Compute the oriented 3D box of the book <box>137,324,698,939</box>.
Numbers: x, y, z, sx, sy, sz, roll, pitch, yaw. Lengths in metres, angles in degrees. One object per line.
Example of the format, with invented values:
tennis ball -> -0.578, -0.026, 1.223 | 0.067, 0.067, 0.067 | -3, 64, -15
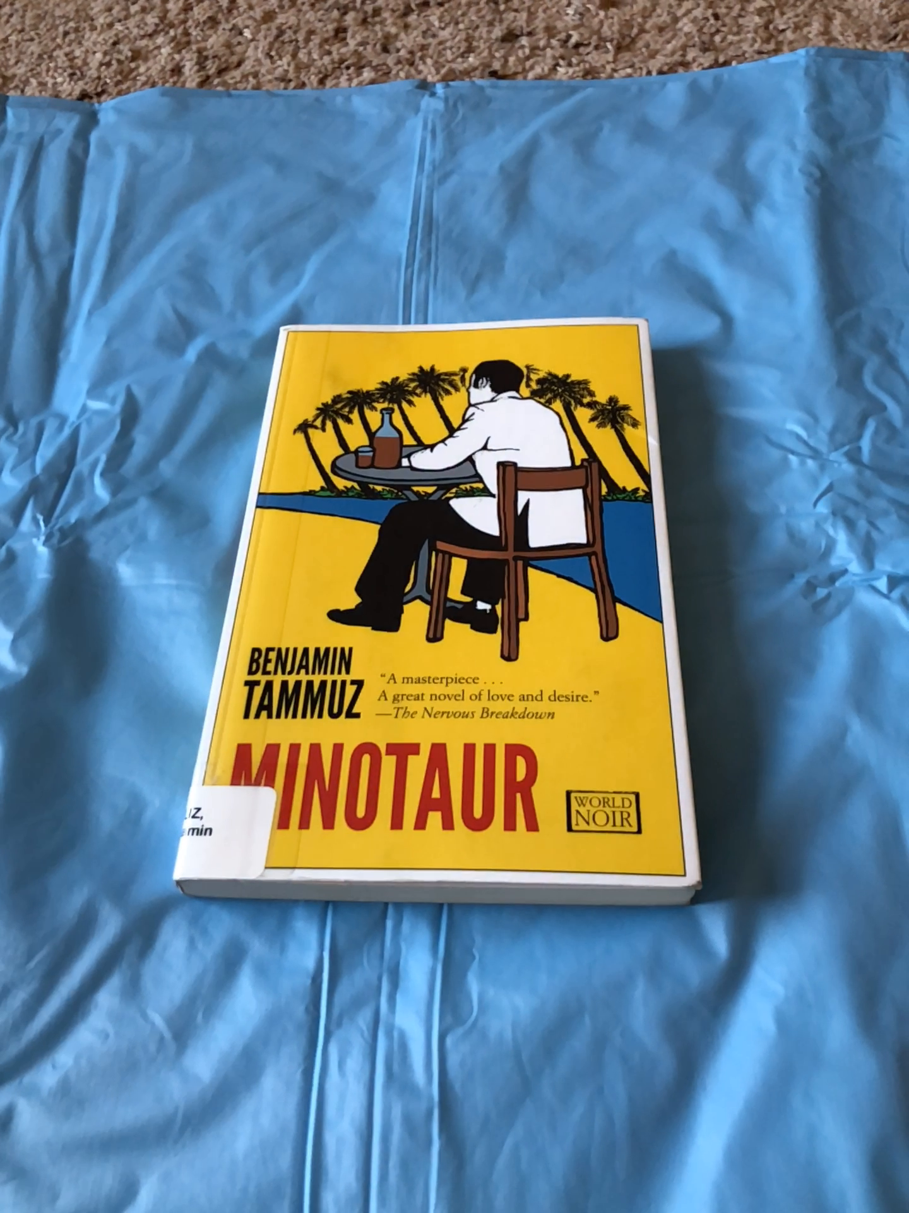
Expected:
book -> -0.006, -0.007, 0.324 | 0.142, 0.027, 0.213 | 0, 56, 3
